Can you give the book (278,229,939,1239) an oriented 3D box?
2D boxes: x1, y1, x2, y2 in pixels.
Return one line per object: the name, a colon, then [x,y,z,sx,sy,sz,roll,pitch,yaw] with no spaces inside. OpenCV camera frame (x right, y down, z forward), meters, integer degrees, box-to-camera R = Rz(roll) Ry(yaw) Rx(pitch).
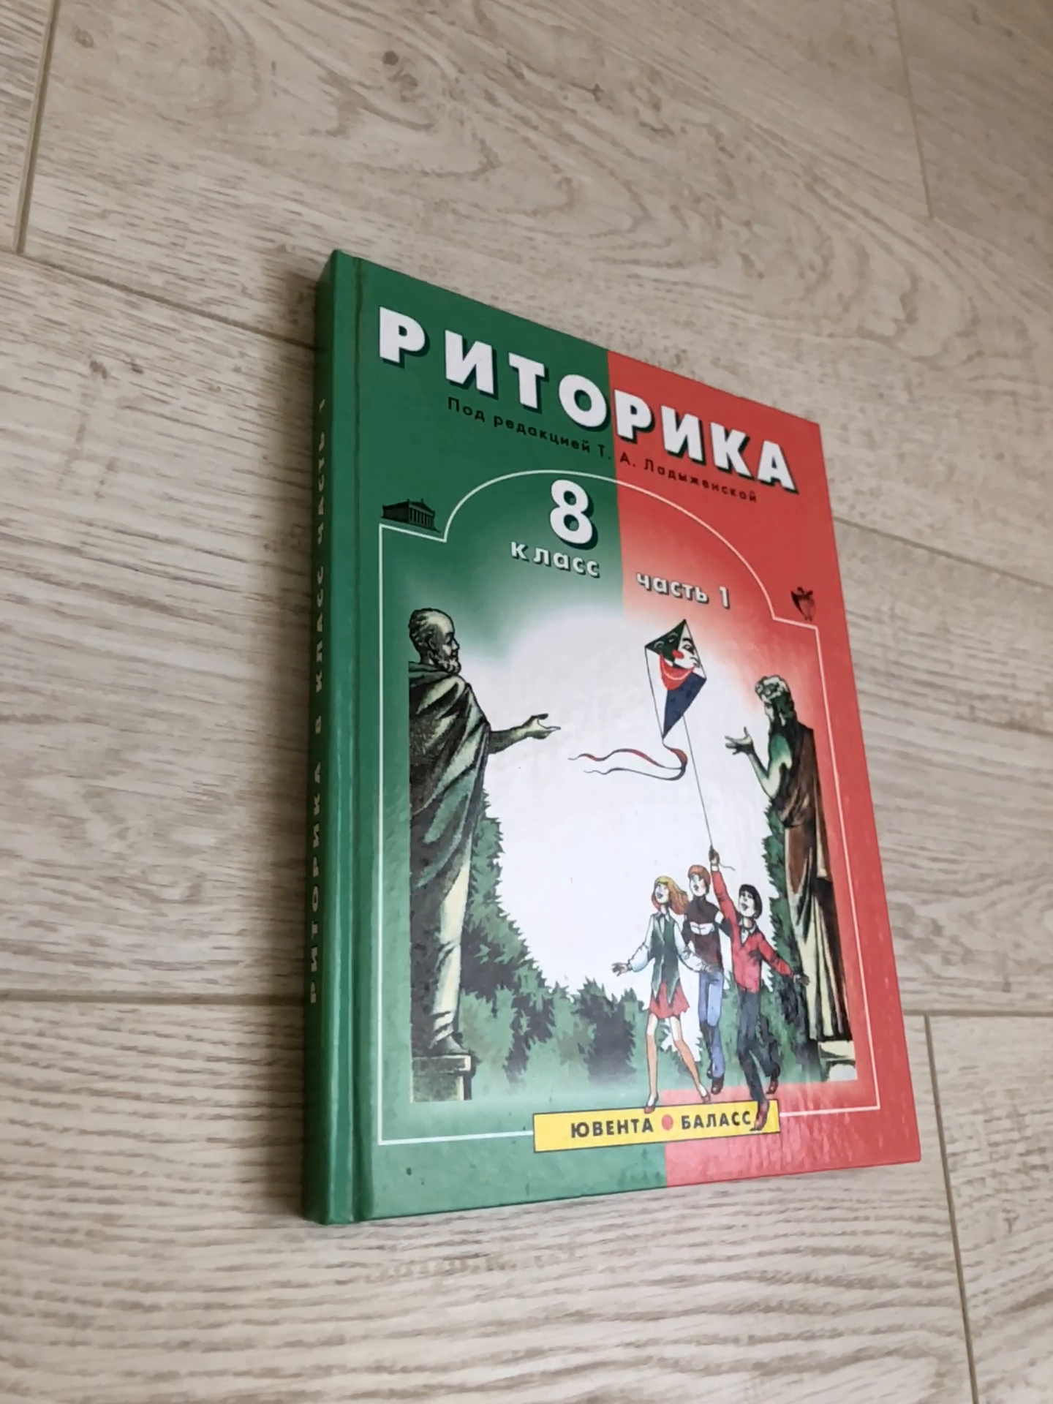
book: [0.024,0.005,0.299,0.171,0.020,0.223,9,68,-32]
